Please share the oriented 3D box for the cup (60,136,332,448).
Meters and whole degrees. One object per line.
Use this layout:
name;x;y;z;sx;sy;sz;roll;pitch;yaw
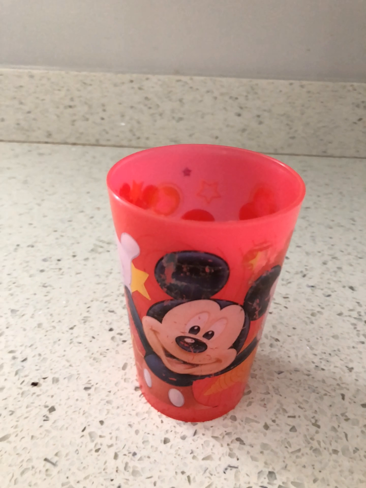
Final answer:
cup;0.005;0.017;0.165;0.073;0.096;0.071;1;32;-1
